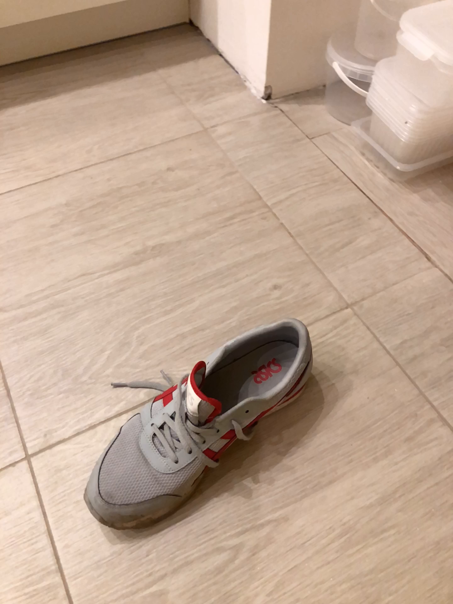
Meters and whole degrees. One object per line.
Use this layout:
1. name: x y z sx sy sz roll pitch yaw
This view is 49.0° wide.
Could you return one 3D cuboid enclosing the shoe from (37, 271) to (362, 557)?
1. shoe: -0.018 0.111 0.524 0.298 0.129 0.110 -30 60 -20
